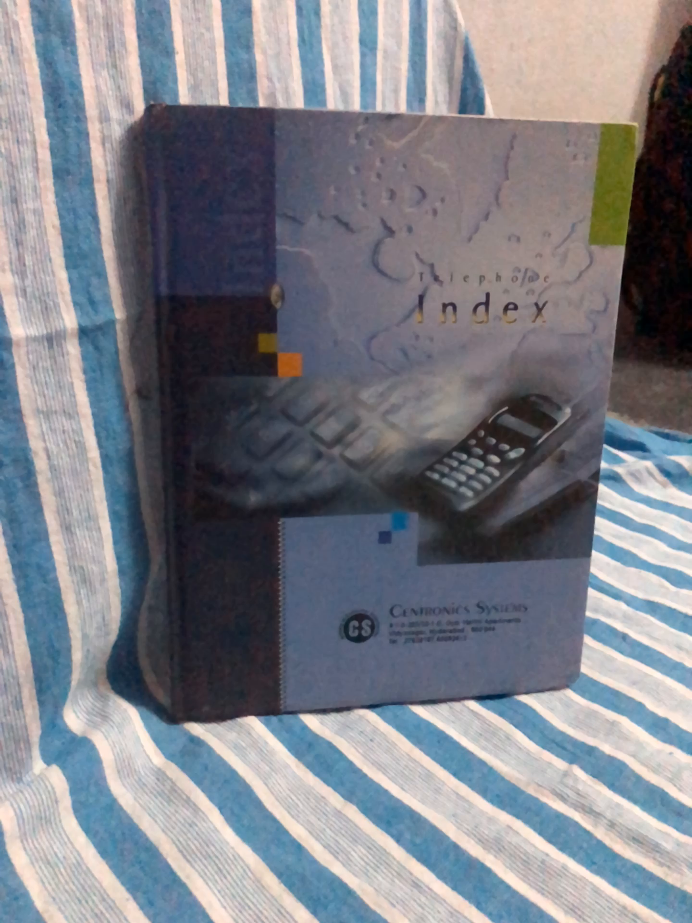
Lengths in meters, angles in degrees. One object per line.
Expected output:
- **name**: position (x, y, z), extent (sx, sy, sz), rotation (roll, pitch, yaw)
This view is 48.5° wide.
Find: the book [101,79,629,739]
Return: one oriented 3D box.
- **book**: position (0.008, -0.011, 0.318), extent (0.193, 0.253, 0.023), rotation (-1, 15, -11)
